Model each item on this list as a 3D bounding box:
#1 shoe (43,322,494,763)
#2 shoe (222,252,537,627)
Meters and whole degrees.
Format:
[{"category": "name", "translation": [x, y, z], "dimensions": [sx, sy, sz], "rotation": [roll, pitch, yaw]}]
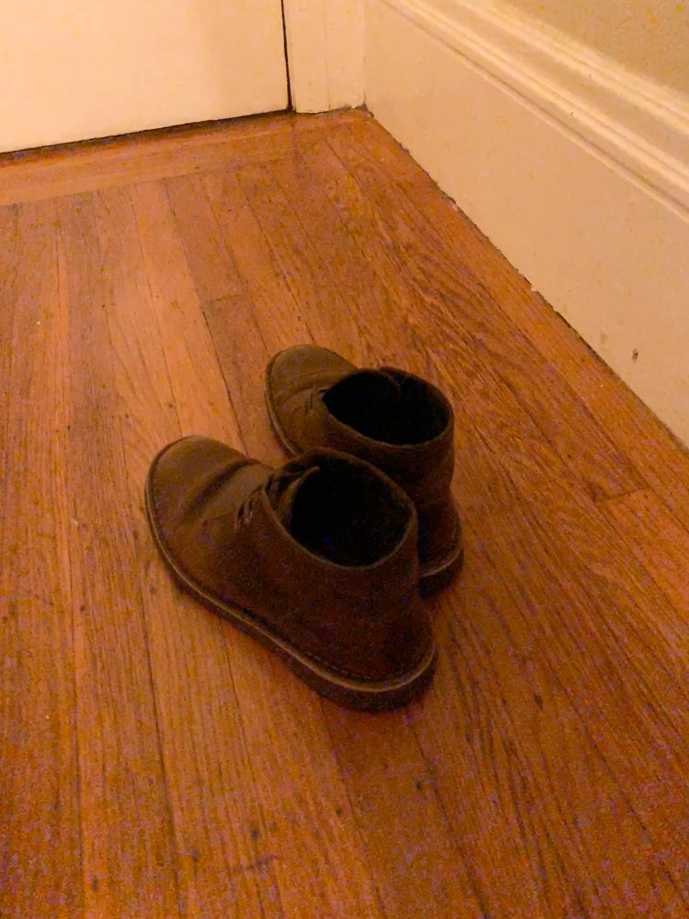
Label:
[{"category": "shoe", "translation": [-0.062, 0.038, 0.493], "dimensions": [0.301, 0.119, 0.120], "rotation": [34, 56, 31]}, {"category": "shoe", "translation": [0.011, -0.034, 0.572], "dimensions": [0.120, 0.119, 0.291], "rotation": [-19, 48, -15]}]
